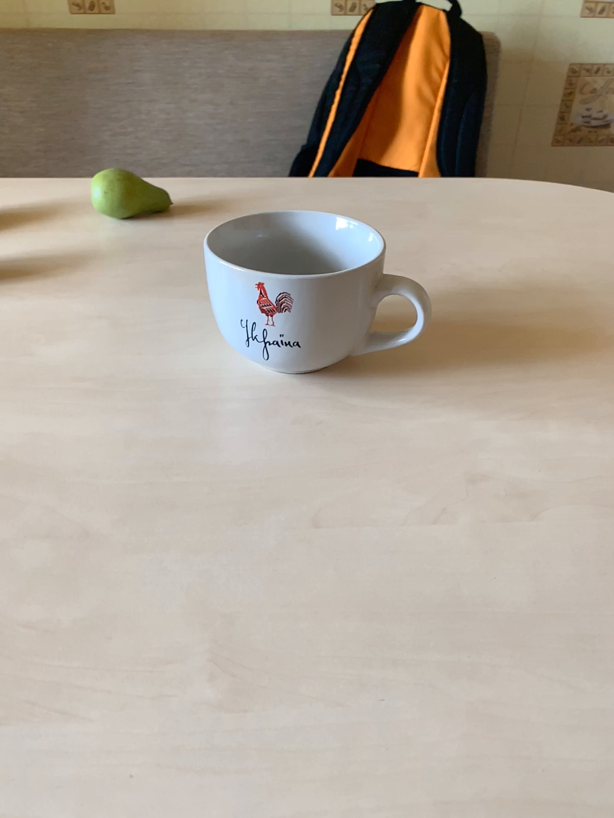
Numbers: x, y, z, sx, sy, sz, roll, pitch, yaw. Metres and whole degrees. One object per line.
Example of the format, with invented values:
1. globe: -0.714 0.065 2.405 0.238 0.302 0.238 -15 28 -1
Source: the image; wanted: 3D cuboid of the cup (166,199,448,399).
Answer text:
1. cup: 0.004 -0.071 0.369 0.130 0.060 0.100 13 37 16
